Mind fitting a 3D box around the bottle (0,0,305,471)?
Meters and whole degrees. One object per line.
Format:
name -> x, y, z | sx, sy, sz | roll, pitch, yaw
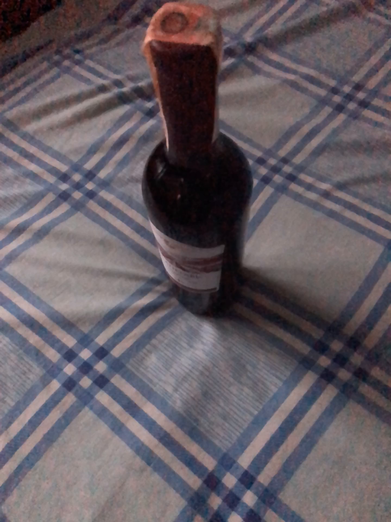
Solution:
bottle -> -0.028, 0.031, 0.192 | 0.070, 0.305, 0.081 | -24, 63, -9
